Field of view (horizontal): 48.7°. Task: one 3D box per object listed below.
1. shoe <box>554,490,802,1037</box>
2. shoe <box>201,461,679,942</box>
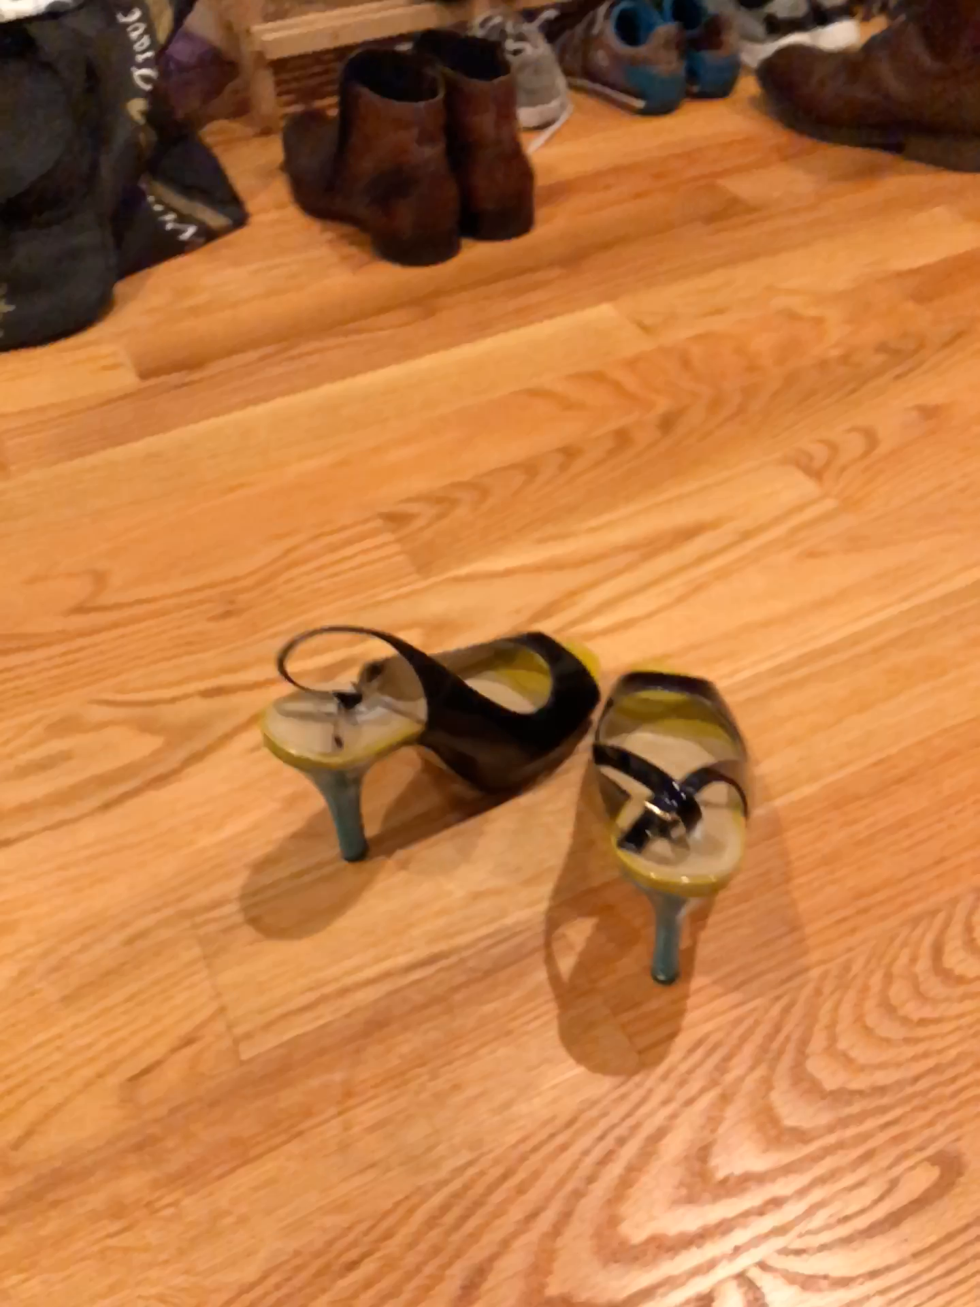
[{"bbox_3d":[0.084,0.043,0.492,0.085,0.131,0.202,5,46,8],"label":"shoe"},{"bbox_3d":[-0.015,0.017,0.523,0.205,0.121,0.085,-33,52,-26],"label":"shoe"}]
